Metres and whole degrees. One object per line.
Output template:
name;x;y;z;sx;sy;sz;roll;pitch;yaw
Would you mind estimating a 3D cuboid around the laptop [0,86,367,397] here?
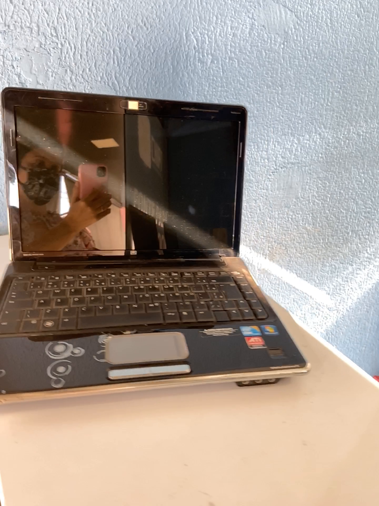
laptop;-0.056;-0.048;0.448;0.321;0.211;0.303;-1;28;-13
